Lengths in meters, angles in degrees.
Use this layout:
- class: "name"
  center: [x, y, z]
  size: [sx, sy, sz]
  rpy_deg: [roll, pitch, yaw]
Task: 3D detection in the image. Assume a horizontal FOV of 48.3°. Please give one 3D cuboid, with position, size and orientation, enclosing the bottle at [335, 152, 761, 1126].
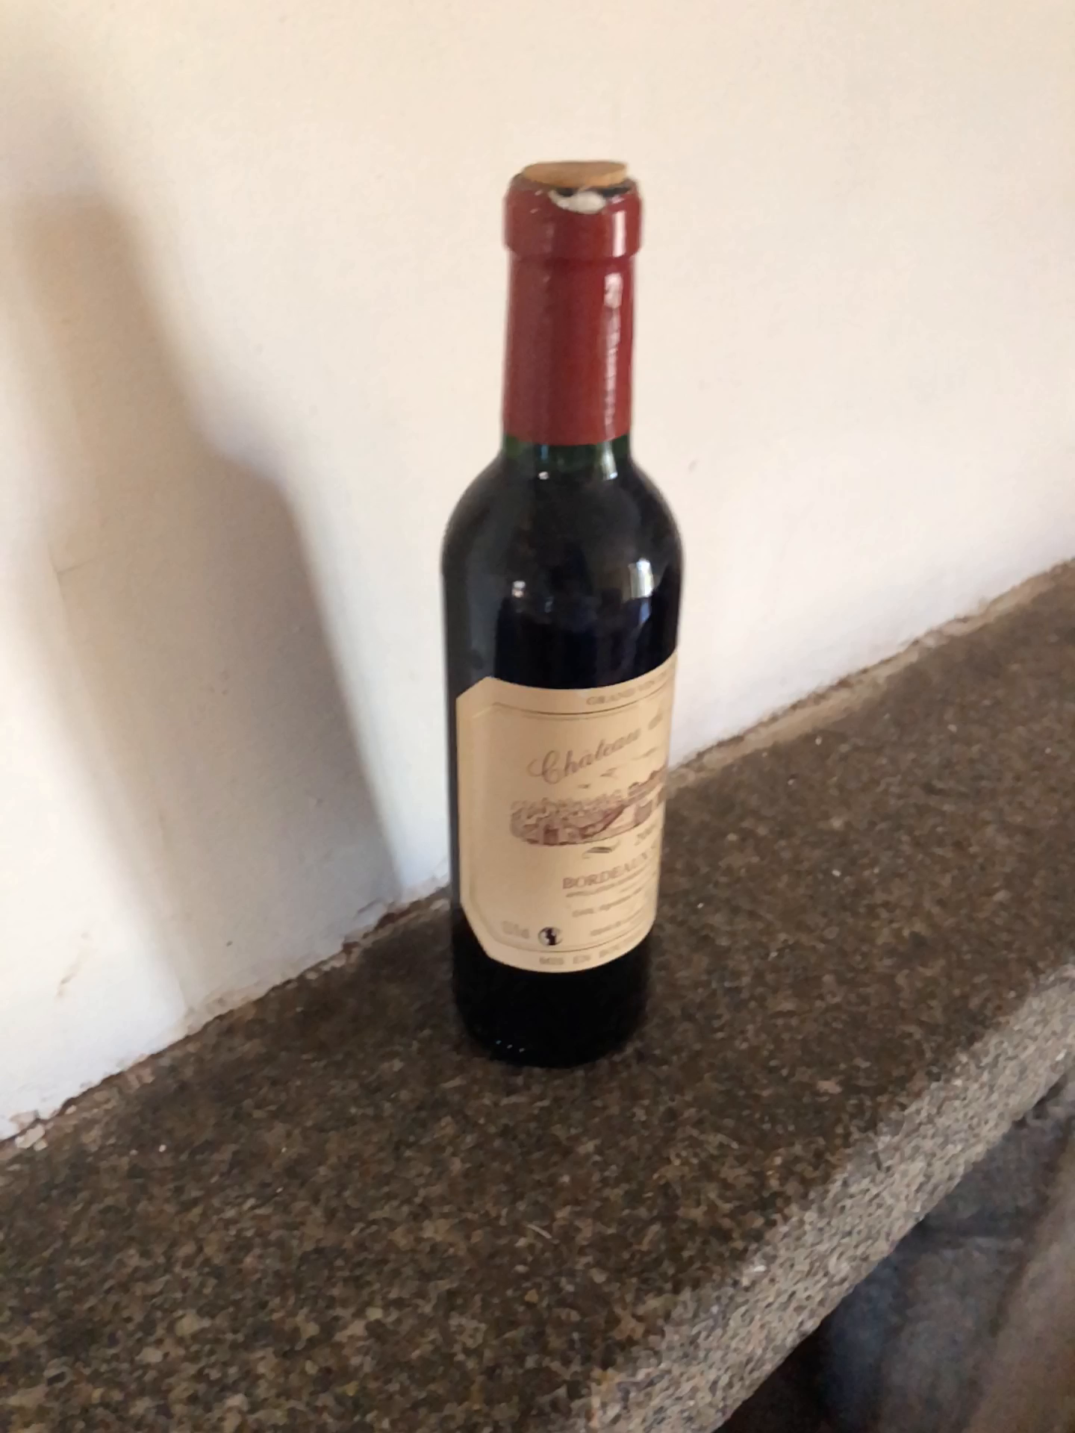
- class: "bottle"
  center: [0.004, -0.008, 0.297]
  size: [0.060, 0.229, 0.060]
  rpy_deg: [-1, 33, 0]
